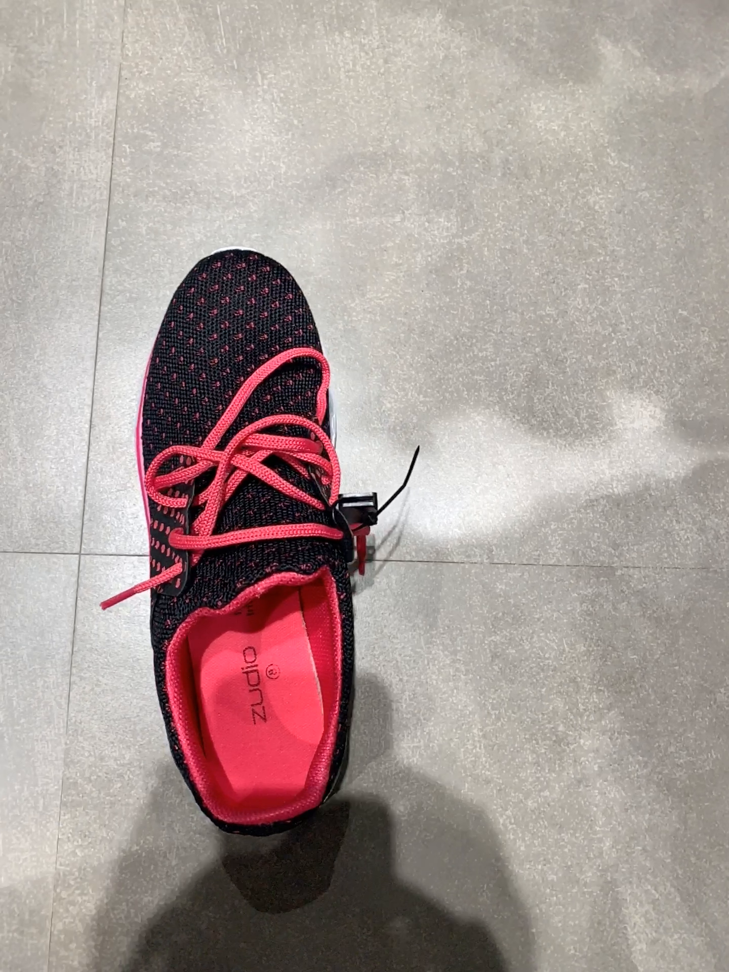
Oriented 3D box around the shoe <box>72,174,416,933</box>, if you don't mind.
[{"bbox_3d":[-0.052,0.019,0.320,0.110,0.110,0.263,-3,81,-7],"label":"shoe"}]
